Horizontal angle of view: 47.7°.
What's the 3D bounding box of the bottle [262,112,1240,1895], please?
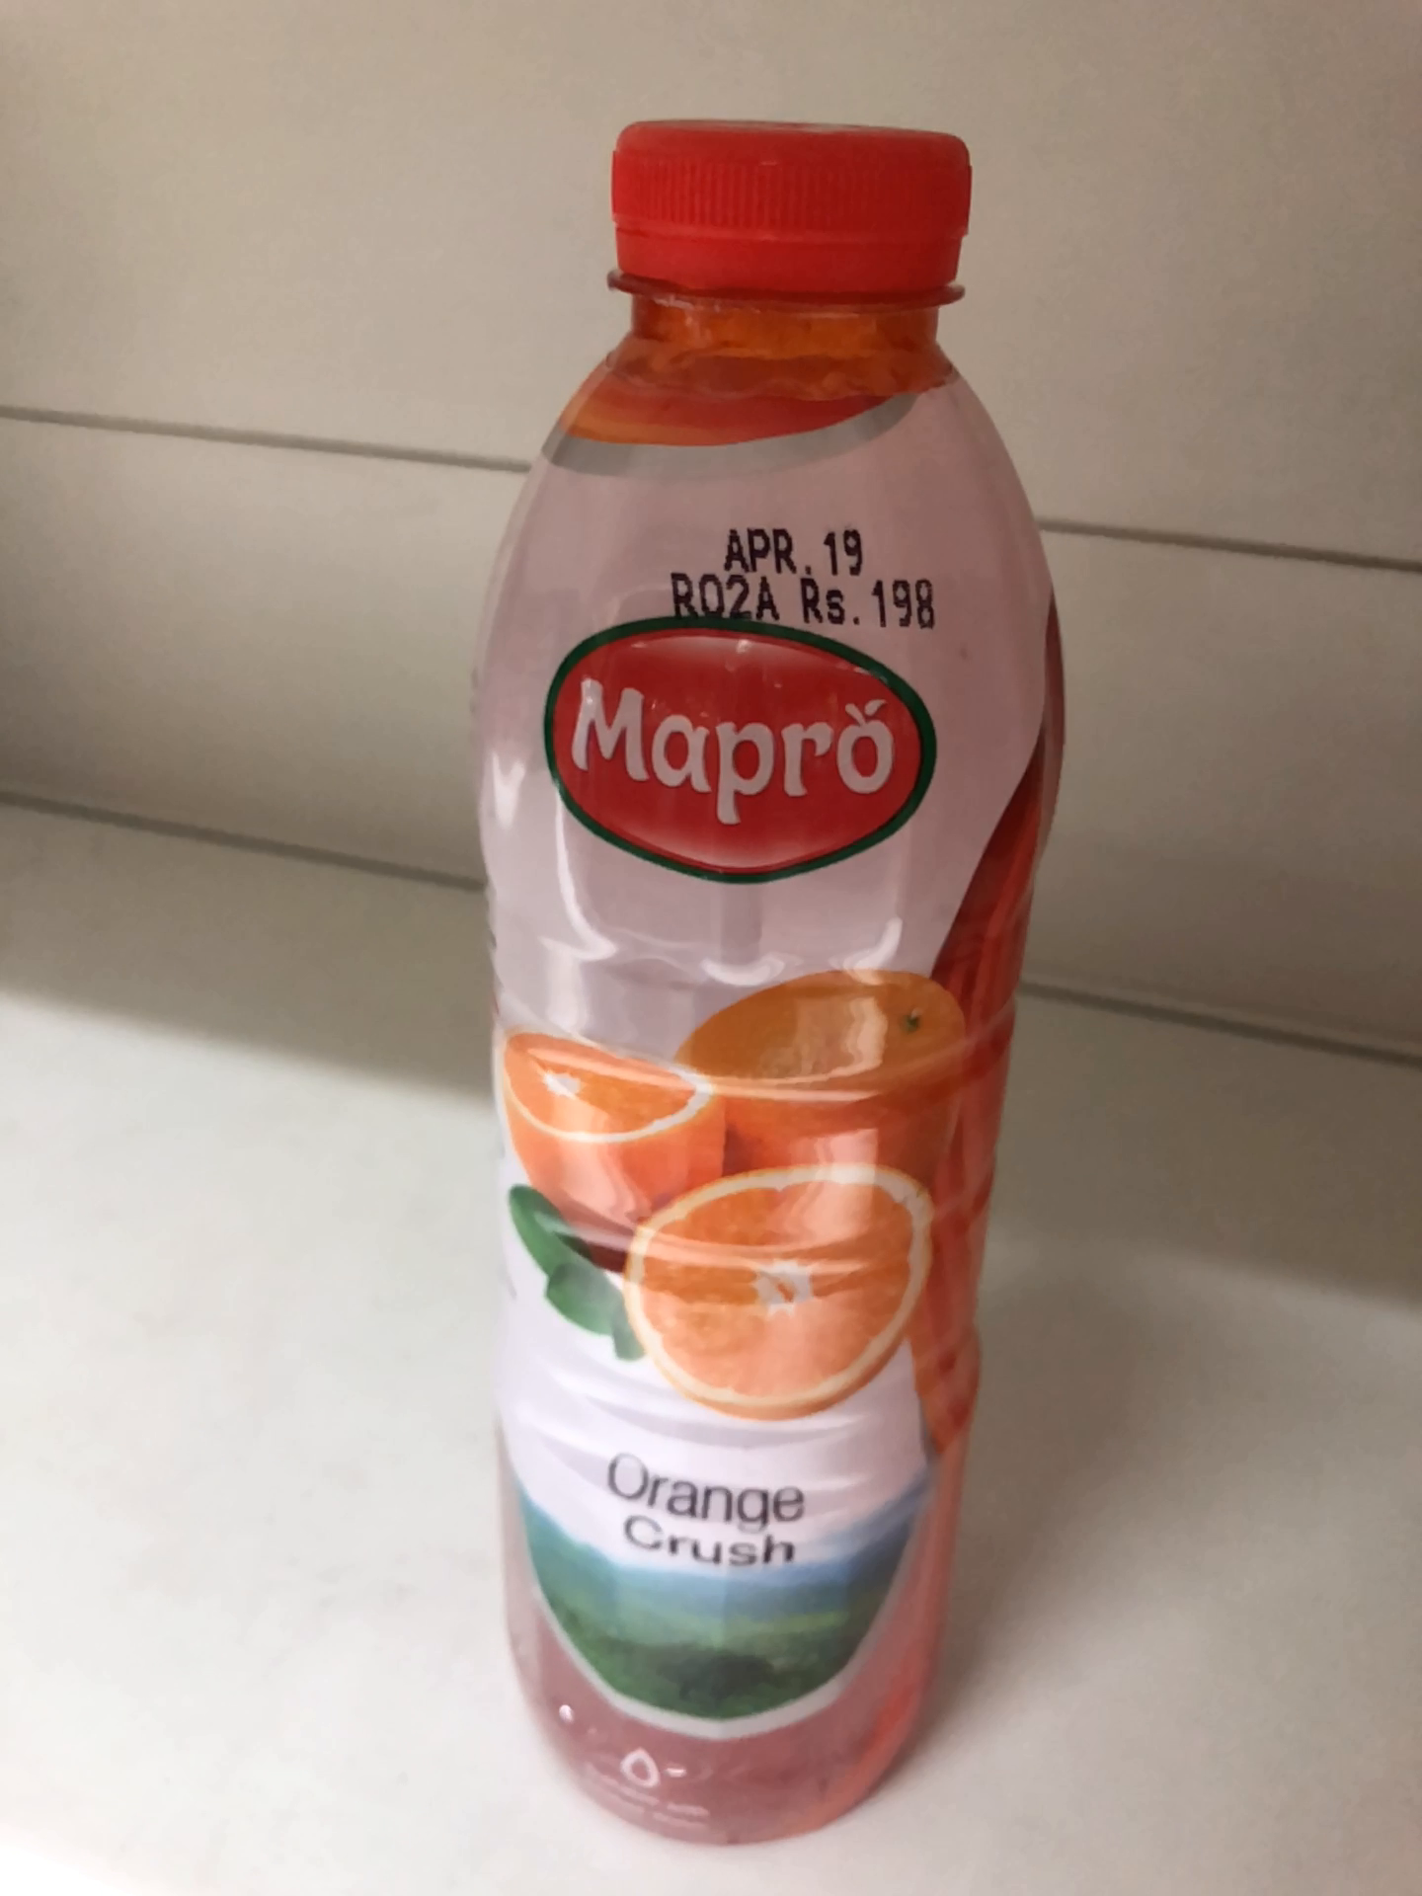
[{"bbox_3d":[0.003,0.020,0.235,0.090,0.248,0.070,6,28,8],"label":"bottle"}]
